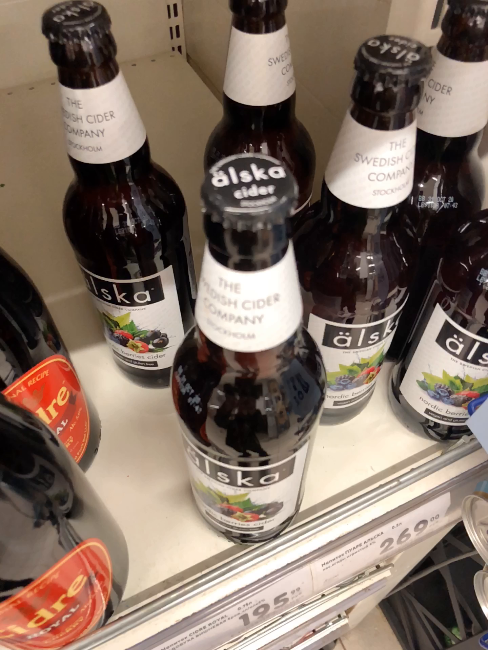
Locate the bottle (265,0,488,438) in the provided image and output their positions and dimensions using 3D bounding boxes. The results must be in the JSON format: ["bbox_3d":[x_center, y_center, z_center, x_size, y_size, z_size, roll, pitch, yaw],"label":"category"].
[{"bbox_3d":[0.060,-0.033,0.297,0.070,0.244,0.063,-27,57,-18],"label":"bottle"}]

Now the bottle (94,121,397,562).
[{"bbox_3d":[0.006,0.035,0.238,0.070,0.229,0.063,11,54,9],"label":"bottle"}]

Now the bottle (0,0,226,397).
[{"bbox_3d":[-0.060,-0.056,0.315,0.075,0.236,0.077,-1,53,1],"label":"bottle"}]
